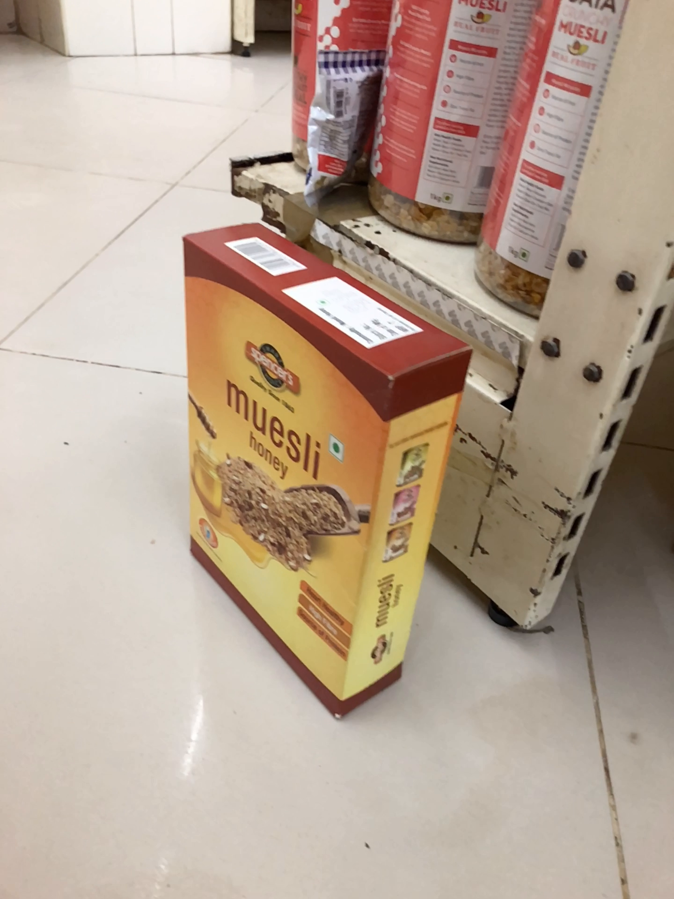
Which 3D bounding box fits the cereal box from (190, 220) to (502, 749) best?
[{"bbox_3d":[-0.015,0.021,0.457,0.060,0.258,0.190,-20,42,-31],"label":"cereal box"}]
